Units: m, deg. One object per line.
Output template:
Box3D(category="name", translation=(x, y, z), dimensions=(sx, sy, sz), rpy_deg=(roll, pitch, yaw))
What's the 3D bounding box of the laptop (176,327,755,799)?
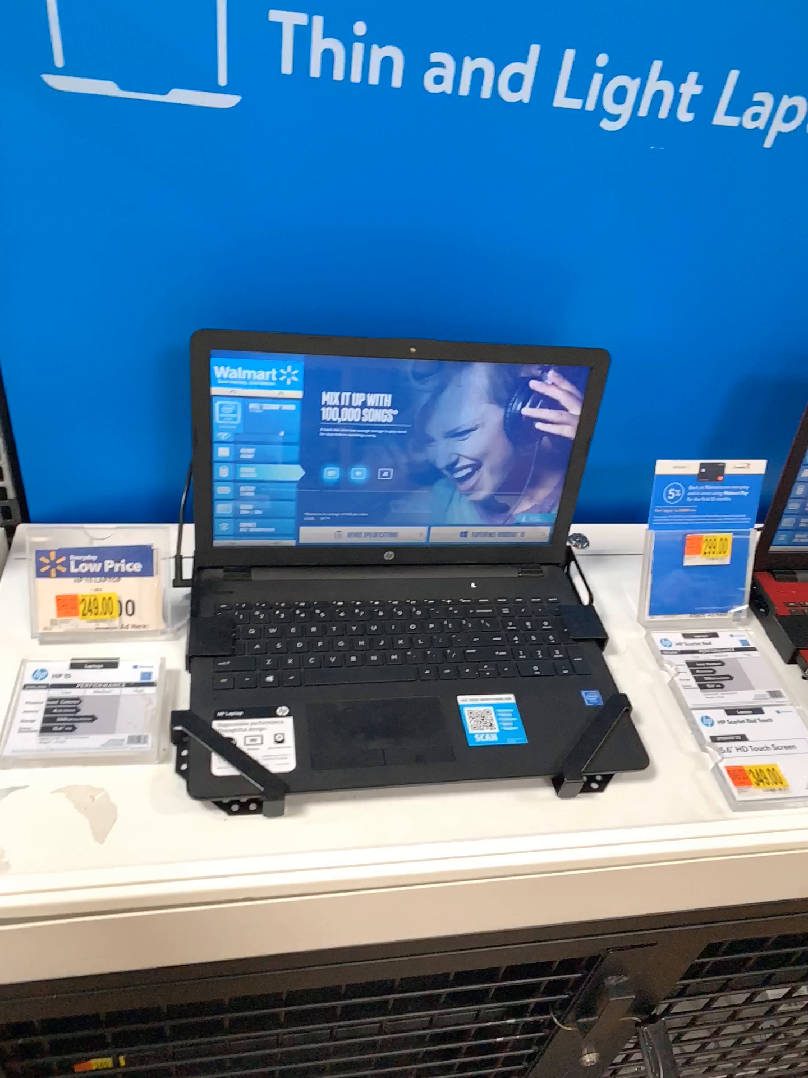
Box3D(category="laptop", translation=(0.012, 0.008, 0.673), dimensions=(0.363, 0.225, 0.287), rpy_deg=(-1, 41, -12))
